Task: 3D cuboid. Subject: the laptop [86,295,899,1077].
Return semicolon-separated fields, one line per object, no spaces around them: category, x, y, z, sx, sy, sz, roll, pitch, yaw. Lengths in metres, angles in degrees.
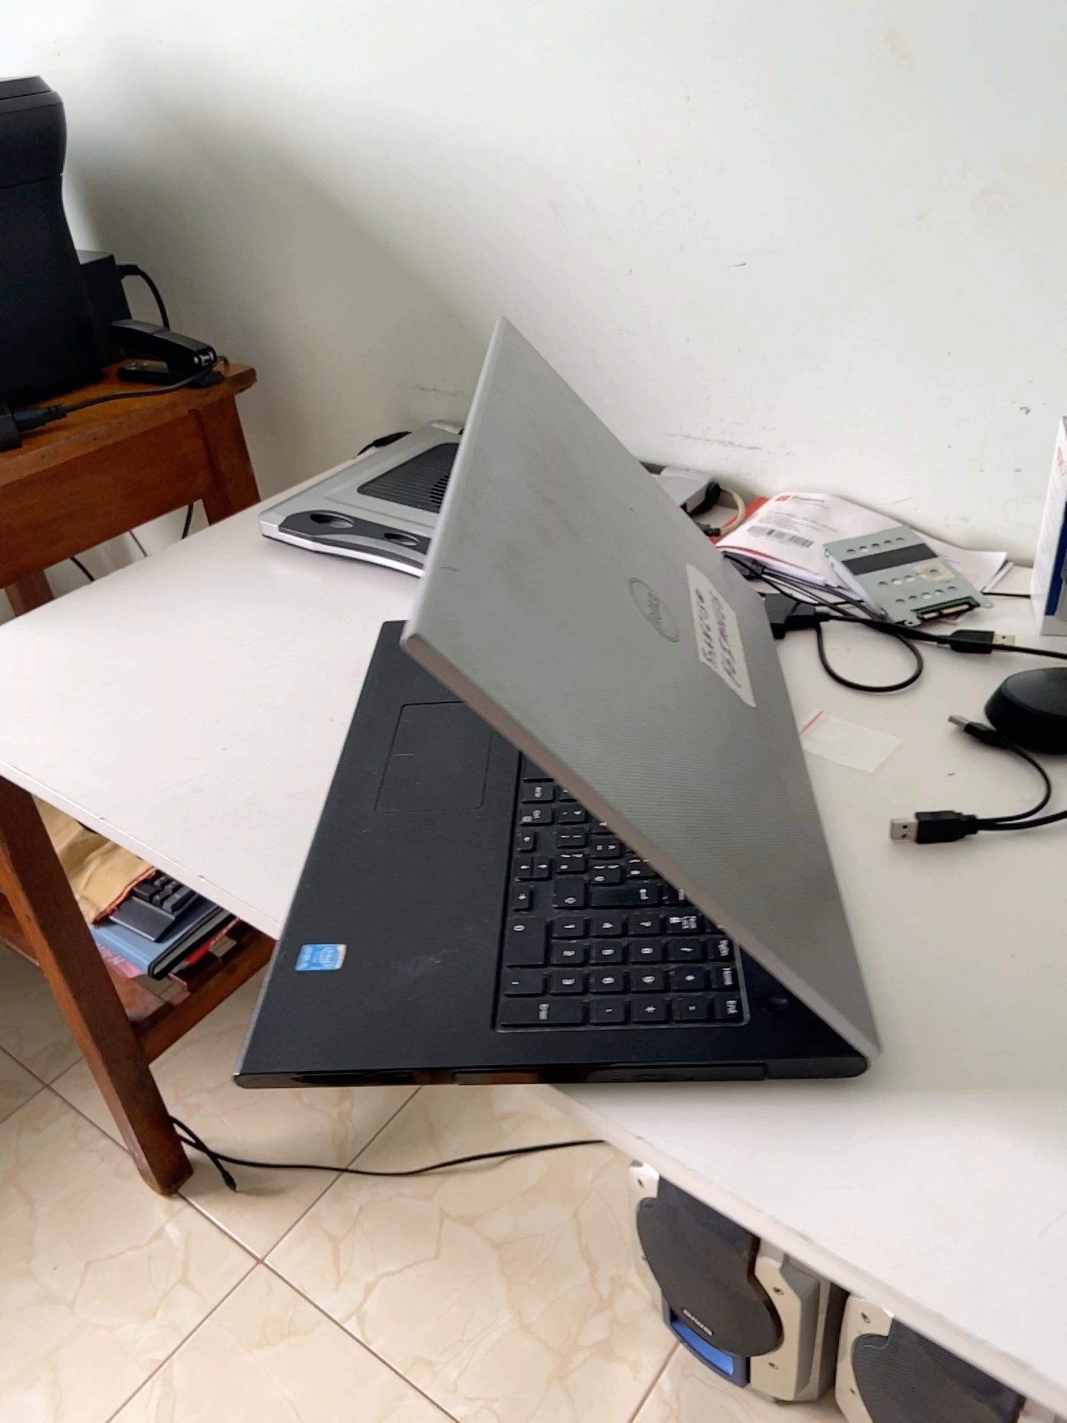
laptop;-0.002;-0.043;0.552;0.256;0.204;0.376;-3;35;5
